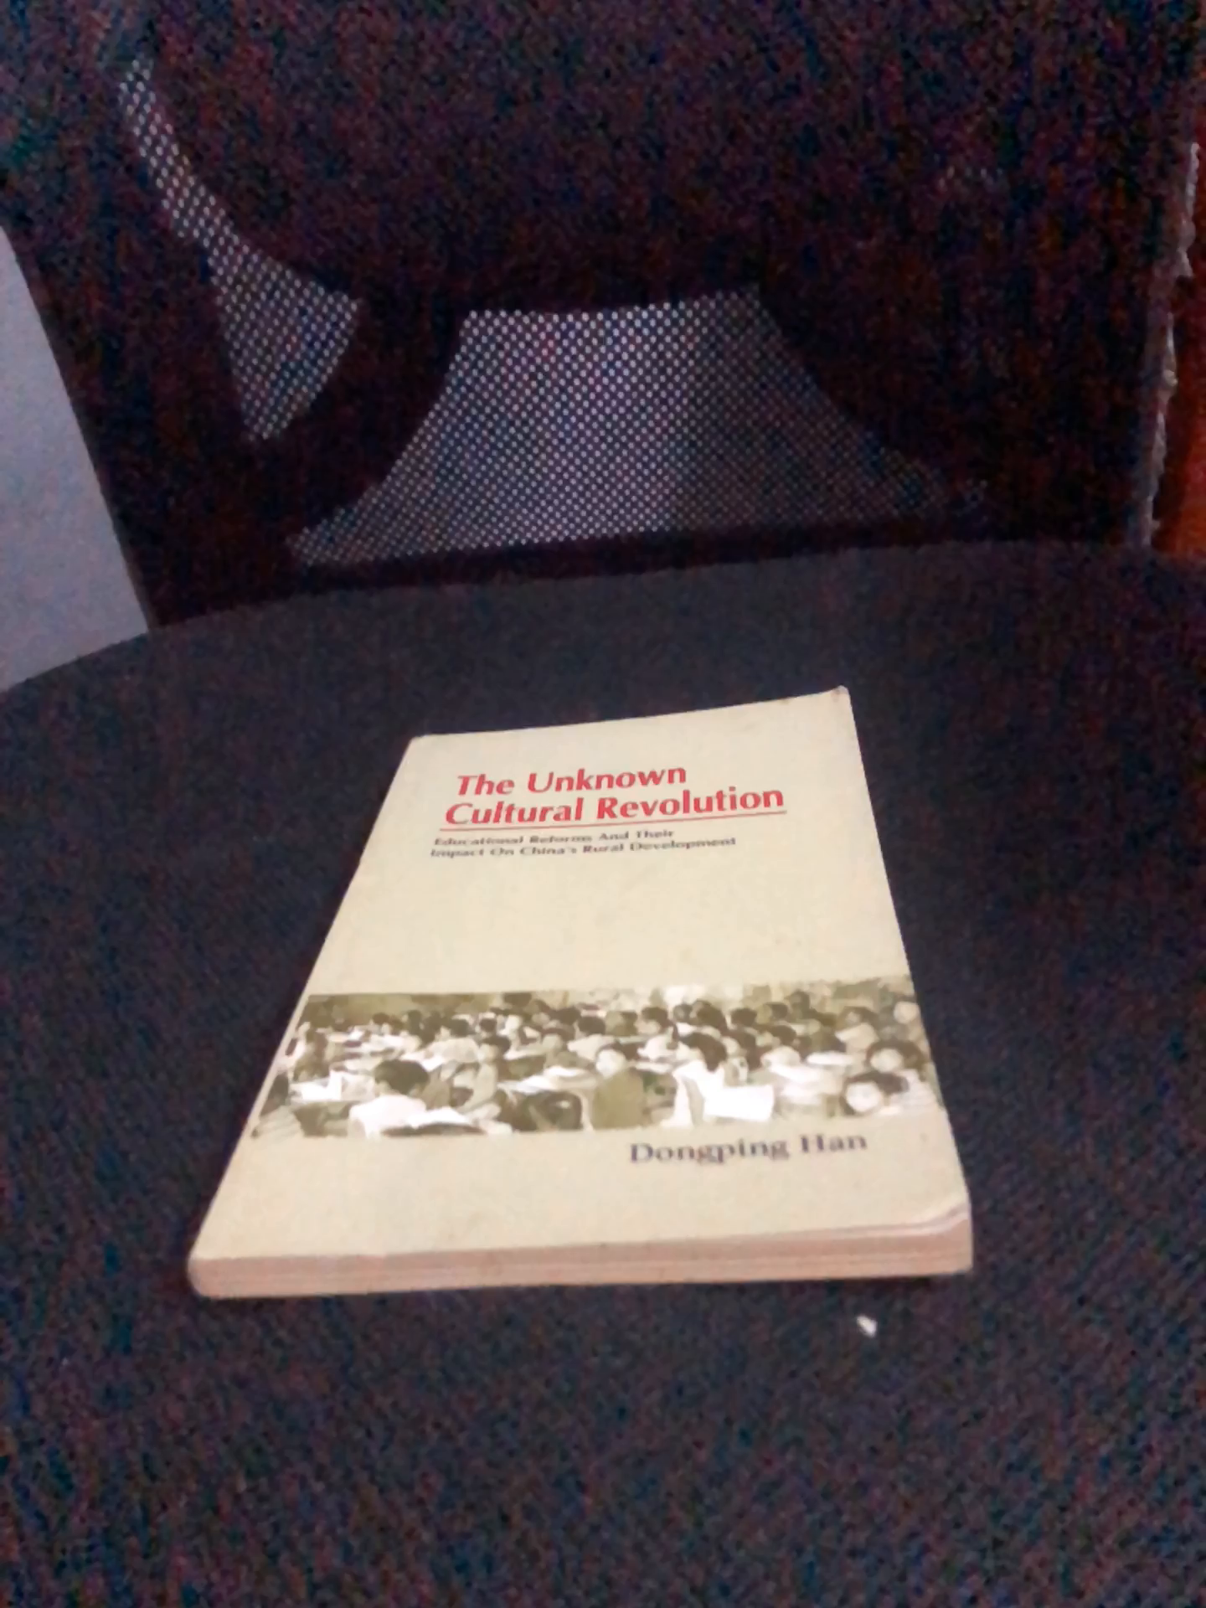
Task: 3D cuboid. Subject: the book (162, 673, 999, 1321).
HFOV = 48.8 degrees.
[{"bbox_3d":[0.001,0.030,0.336,0.154,0.017,0.215,-5,32,7],"label":"book"}]
